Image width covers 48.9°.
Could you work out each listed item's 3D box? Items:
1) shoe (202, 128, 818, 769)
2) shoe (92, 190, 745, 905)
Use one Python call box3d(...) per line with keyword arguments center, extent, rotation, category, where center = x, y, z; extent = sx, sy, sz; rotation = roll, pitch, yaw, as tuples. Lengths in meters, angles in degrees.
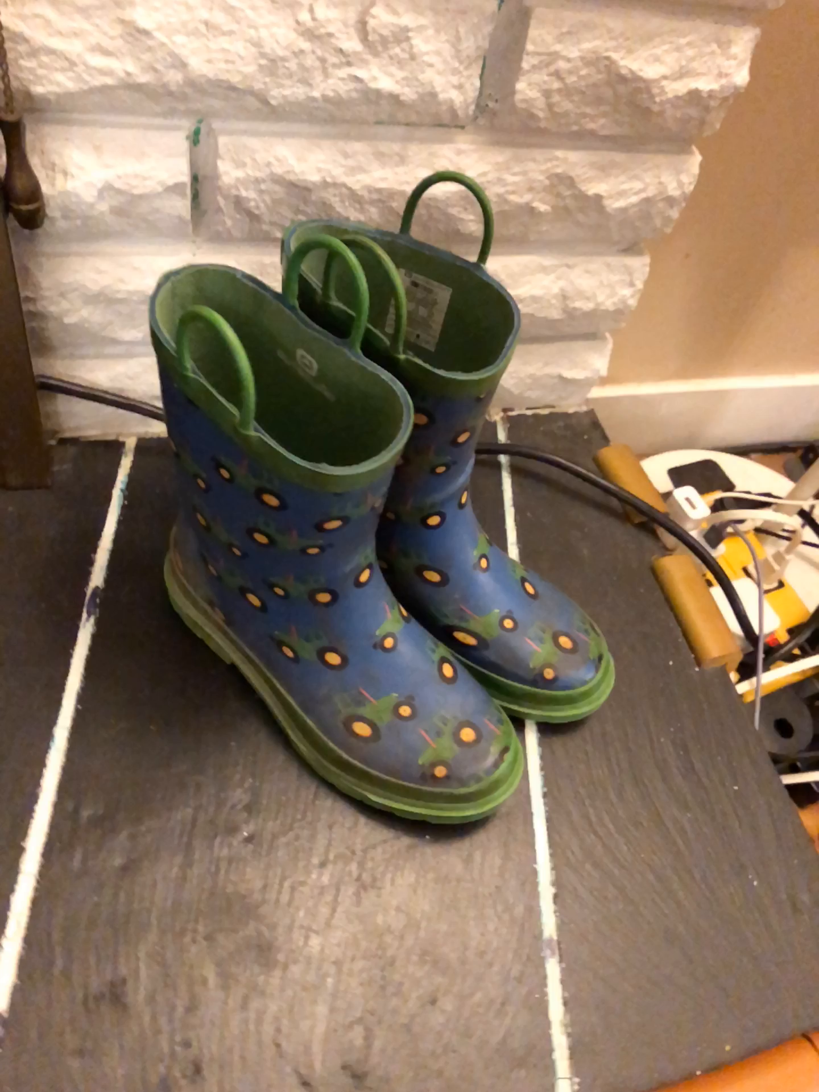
box3d(center=(0.026, -0.035, 0.456), extent=(0.240, 0.229, 0.100), rotation=(29, 53, 9), category="shoe")
box3d(center=(-0.021, 0.014, 0.420), extent=(0.230, 0.239, 0.100), rotation=(39, 55, 15), category="shoe")
